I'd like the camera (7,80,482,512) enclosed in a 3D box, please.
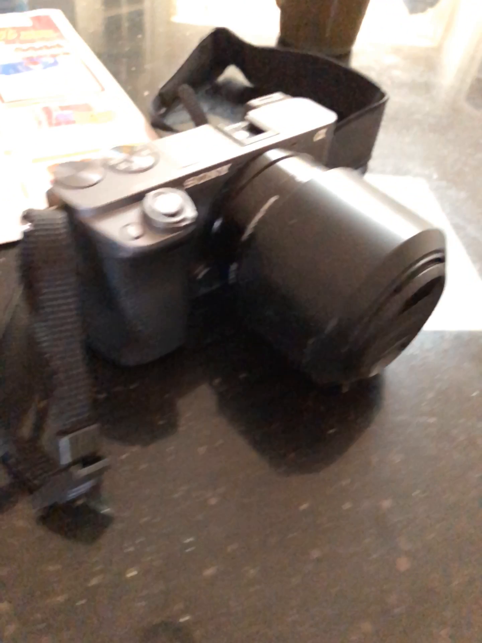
[{"bbox_3d":[0.005,-0.023,0.208,0.130,0.070,0.110,-30,59,-31],"label":"camera"}]
